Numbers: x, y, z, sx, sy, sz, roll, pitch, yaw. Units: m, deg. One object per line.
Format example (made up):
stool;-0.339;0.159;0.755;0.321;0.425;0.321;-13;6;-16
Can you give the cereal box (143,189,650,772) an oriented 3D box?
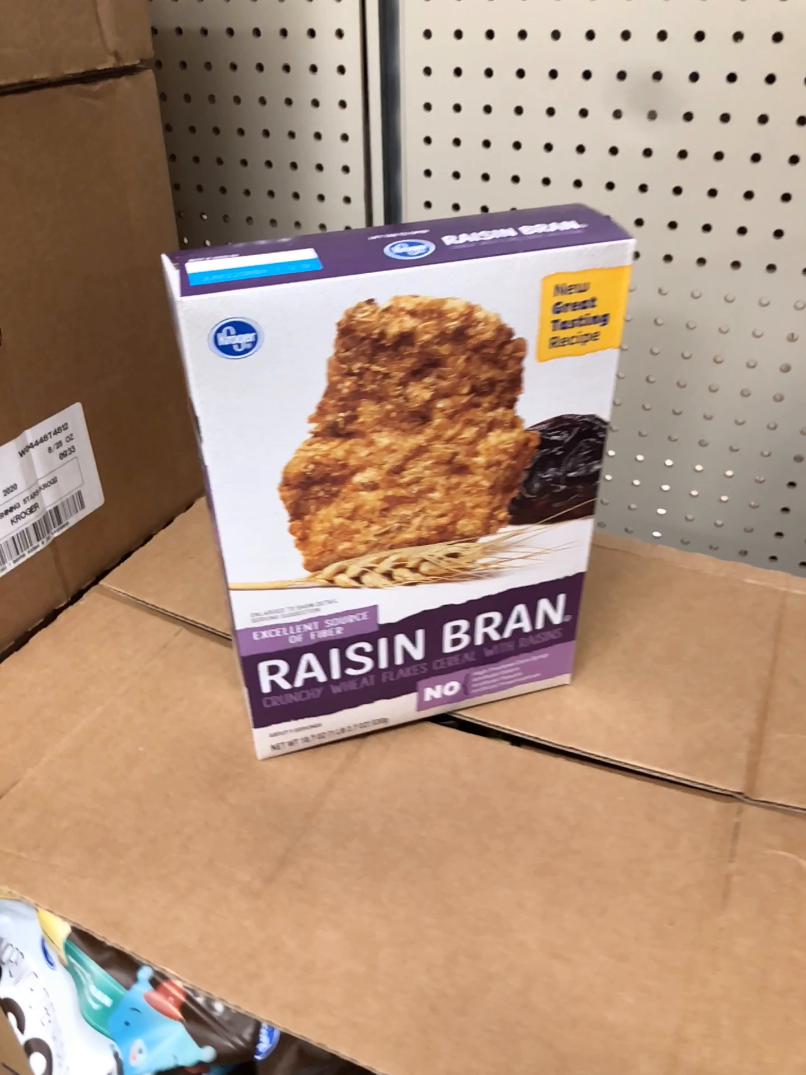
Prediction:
cereal box;-0.002;-0.018;0.447;0.200;0.269;0.060;-11;38;-15
